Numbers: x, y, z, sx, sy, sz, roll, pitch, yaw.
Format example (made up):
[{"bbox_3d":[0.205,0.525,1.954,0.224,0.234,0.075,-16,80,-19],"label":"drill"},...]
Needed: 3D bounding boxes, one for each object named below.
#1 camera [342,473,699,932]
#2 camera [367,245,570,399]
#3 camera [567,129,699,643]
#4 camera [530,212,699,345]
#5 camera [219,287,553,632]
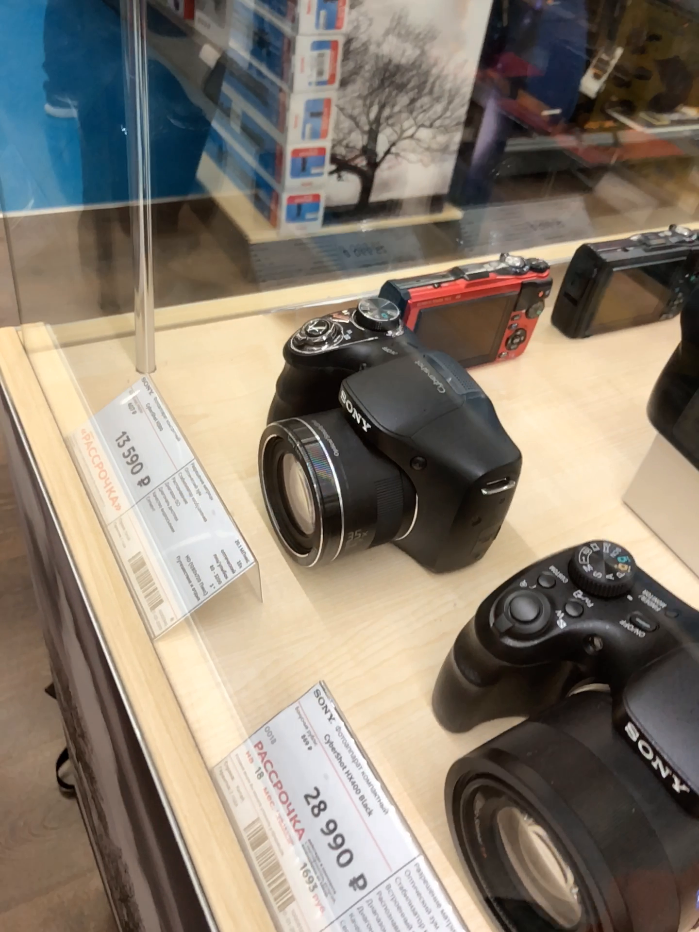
[{"bbox_3d":[0.087,0.092,0.261,0.125,0.097,0.124,-14,48,-26],"label":"camera"},{"bbox_3d":[0.070,-0.086,0.457,0.111,0.069,0.026,-16,49,-27],"label":"camera"},{"bbox_3d":[0.209,-0.047,0.314,0.132,0.106,0.168,-16,49,-27],"label":"camera"},{"bbox_3d":[0.180,-0.124,0.508,0.111,0.069,0.026,-14,48,-26],"label":"camera"},{"bbox_3d":[0.007,-0.010,0.354,0.092,0.078,0.124,-14,48,-26],"label":"camera"}]
